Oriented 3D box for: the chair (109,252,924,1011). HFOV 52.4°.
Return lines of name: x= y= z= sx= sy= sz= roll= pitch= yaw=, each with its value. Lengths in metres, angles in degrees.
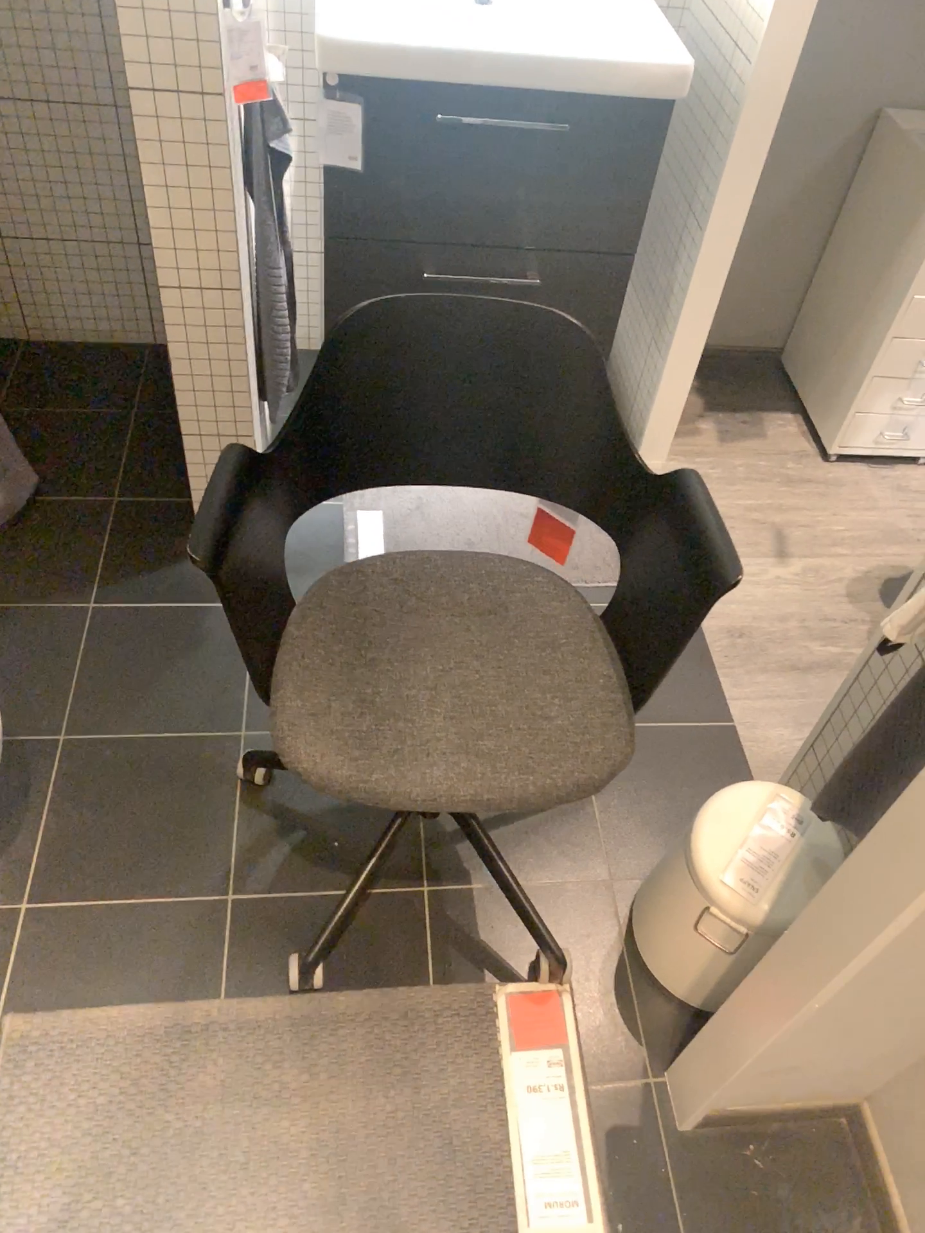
chair: x=0.000 y=0.051 z=1.199 sx=0.640 sy=0.737 sz=0.602 roll=0 pitch=49 yaw=-7
